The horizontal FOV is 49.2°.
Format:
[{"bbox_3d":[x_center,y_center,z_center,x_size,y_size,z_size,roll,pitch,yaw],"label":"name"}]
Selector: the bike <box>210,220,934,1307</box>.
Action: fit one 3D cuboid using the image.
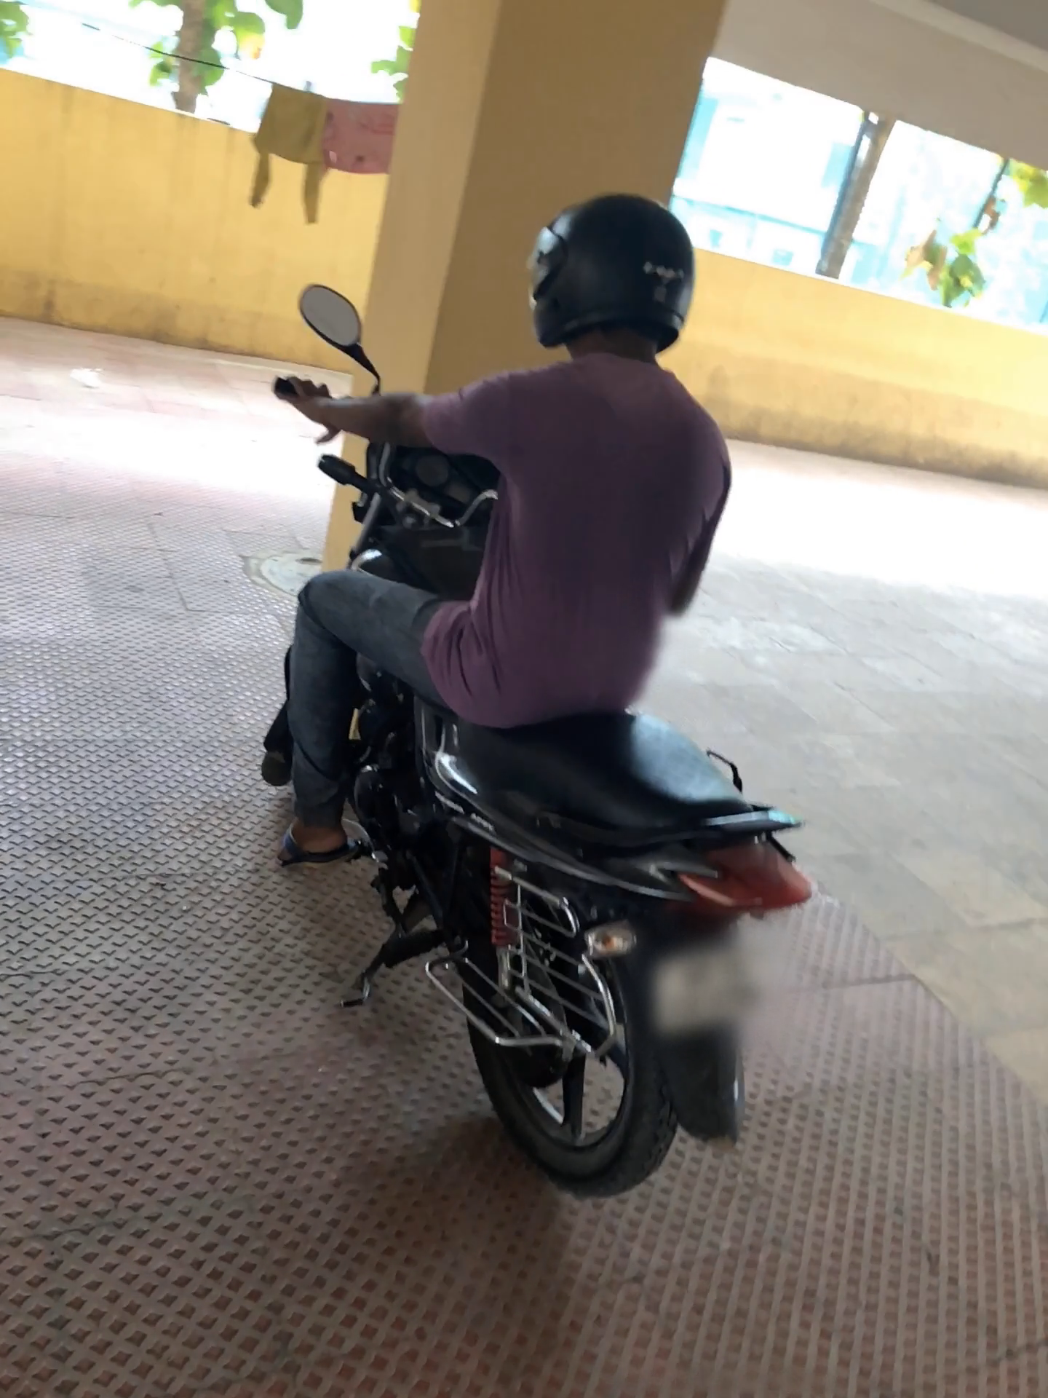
[{"bbox_3d":[-0.113,-0.073,2.235,0.632,1.063,1.653,3,32,-27],"label":"bike"}]
